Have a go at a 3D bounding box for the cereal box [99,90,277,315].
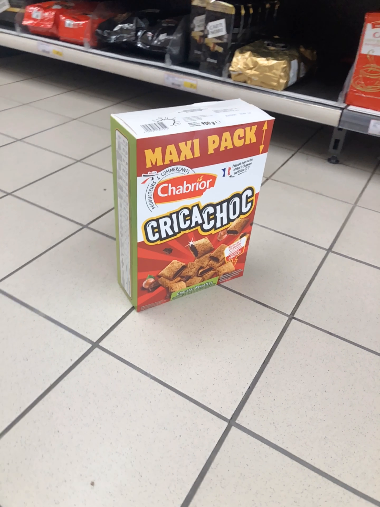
[{"bbox_3d":[-0.007,-0.069,0.578,0.201,0.268,0.080,-15,40,-25],"label":"cereal box"}]
